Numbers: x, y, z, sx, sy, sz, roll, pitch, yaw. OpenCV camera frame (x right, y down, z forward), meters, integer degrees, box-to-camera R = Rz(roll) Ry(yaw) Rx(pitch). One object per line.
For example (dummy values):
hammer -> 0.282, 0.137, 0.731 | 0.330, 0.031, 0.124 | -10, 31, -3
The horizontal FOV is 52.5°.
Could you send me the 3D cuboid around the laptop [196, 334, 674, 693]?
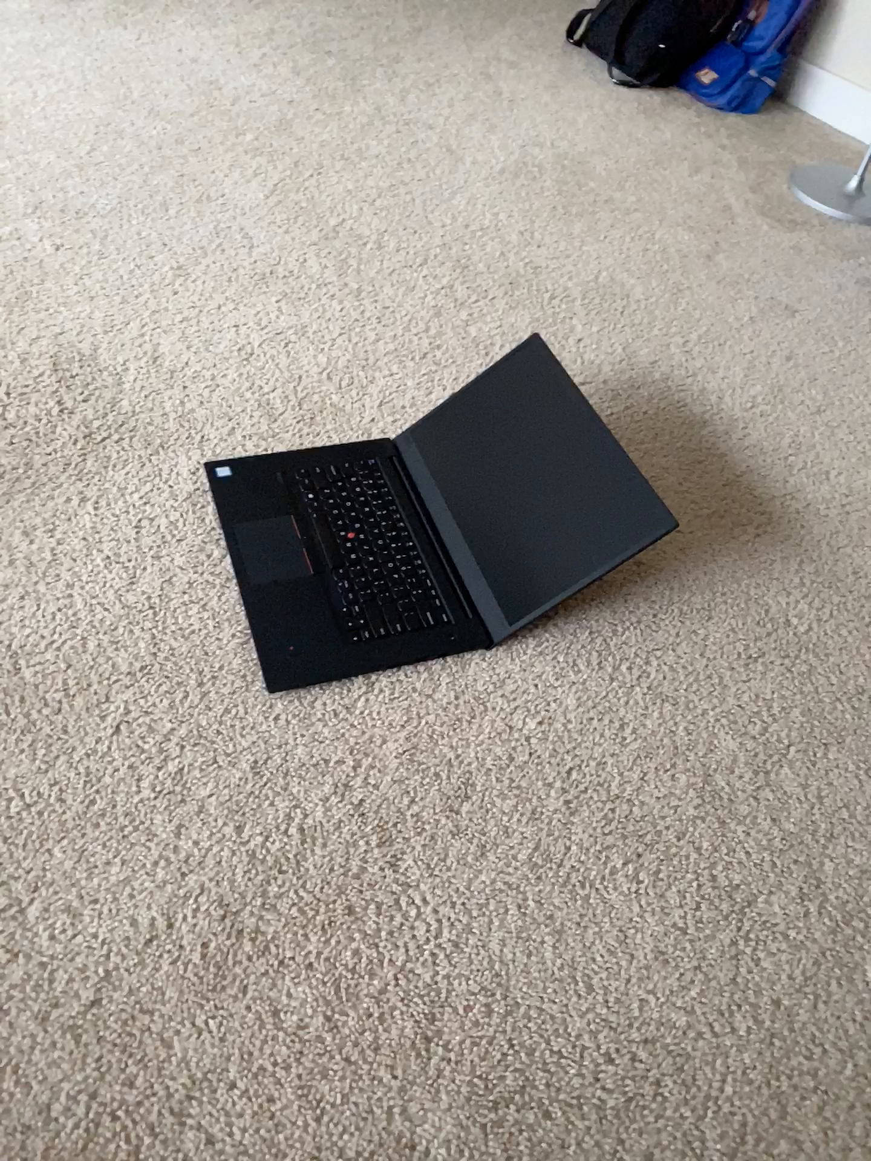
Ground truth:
laptop -> -0.020, -0.102, 1.019 | 0.432, 0.141, 0.361 | -11, 51, -18
